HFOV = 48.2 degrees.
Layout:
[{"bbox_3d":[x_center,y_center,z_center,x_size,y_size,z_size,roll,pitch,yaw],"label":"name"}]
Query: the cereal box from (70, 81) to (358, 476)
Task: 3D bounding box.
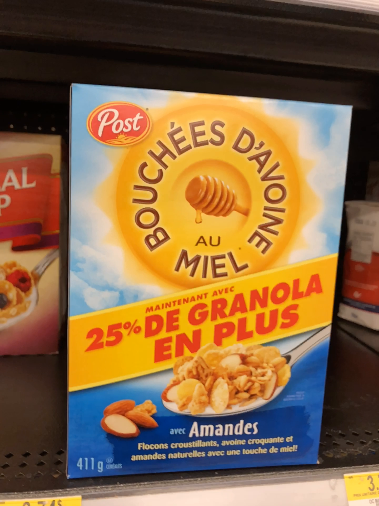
[{"bbox_3d":[0.012,0.023,0.327,0.190,0.269,0.060,2,7,-7],"label":"cereal box"}]
